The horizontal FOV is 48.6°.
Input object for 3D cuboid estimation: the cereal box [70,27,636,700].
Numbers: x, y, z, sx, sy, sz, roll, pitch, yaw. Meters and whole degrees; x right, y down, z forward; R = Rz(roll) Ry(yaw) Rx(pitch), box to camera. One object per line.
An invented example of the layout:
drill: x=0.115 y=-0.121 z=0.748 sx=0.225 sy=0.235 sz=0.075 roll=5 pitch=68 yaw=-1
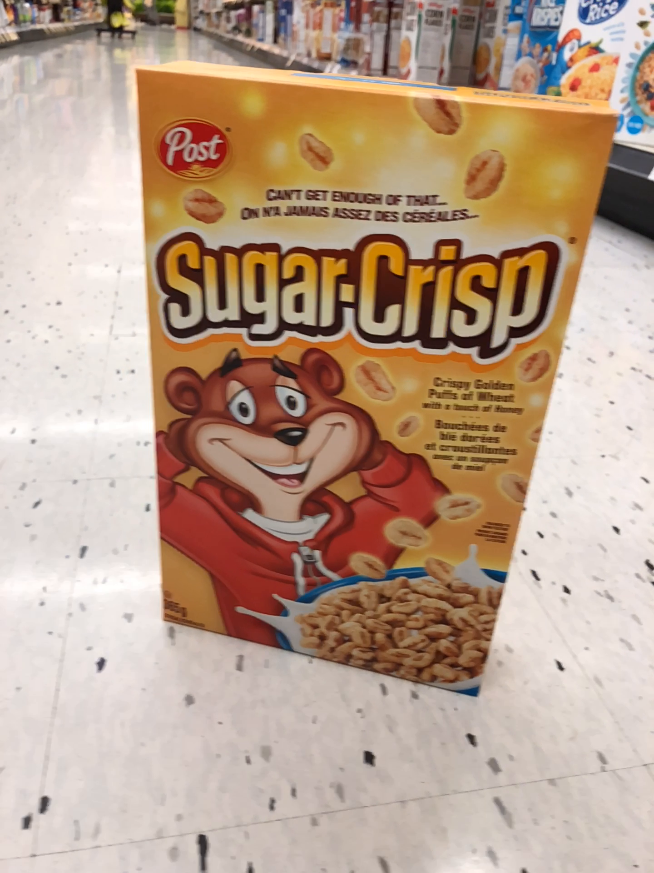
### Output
cereal box: x=-0.002 y=-0.023 z=0.359 sx=0.210 sy=0.298 sz=0.060 roll=10 pitch=29 yaw=10
